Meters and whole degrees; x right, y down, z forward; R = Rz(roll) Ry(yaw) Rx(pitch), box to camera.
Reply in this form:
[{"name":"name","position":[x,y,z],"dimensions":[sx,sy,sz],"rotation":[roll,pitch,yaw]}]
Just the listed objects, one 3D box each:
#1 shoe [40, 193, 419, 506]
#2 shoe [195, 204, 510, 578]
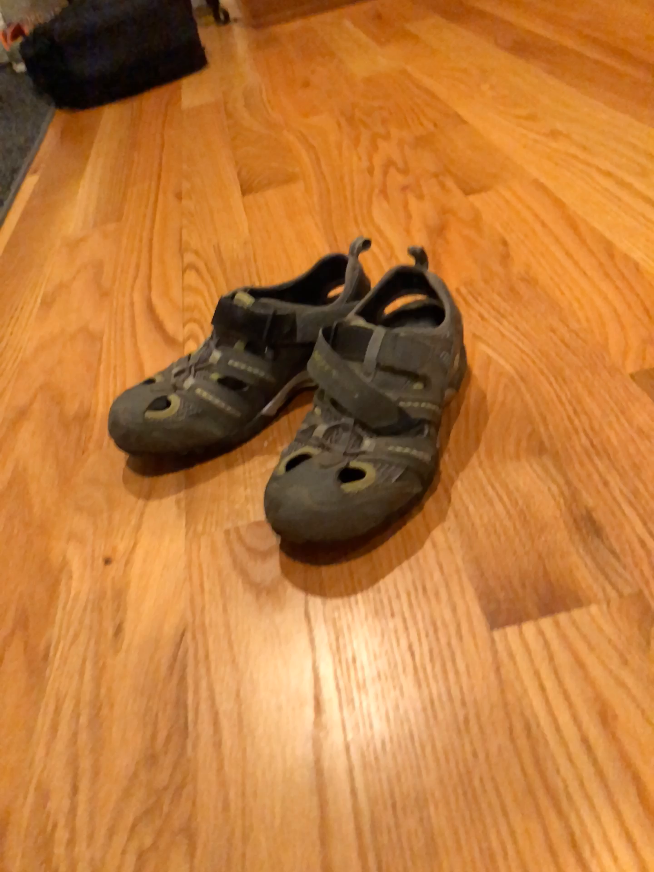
[{"name":"shoe","position":[-0.063,-0.075,0.545],"dimensions":[0.245,0.112,0.101],"rotation":[-31,41,-20]},{"name":"shoe","position":[0.037,-0.047,0.476],"dimensions":[0.100,0.112,0.246],"rotation":[9,43,26]}]
